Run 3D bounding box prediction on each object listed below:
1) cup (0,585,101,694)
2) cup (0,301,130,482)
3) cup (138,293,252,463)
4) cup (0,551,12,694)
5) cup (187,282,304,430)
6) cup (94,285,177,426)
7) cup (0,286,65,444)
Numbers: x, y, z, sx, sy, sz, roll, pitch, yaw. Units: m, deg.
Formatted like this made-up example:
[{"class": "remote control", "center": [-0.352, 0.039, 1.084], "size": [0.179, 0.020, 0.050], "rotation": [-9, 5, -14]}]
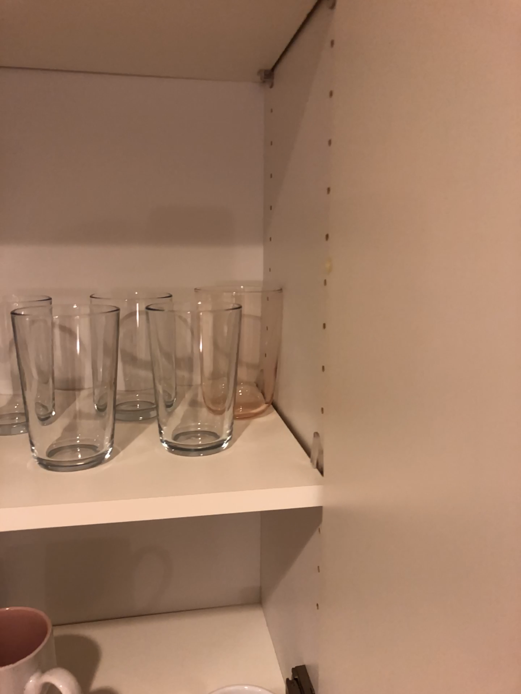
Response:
[{"class": "cup", "center": [-0.212, 0.277, 0.446], "size": [0.140, 0.110, 0.090], "rotation": [5, 10, 25]}, {"class": "cup", "center": [-0.142, 0.026, 0.425], "size": [0.080, 0.110, 0.090], "rotation": [-2, 10, -16]}, {"class": "cup", "center": [-0.056, 0.019, 0.467], "size": [0.080, 0.120, 0.080], "rotation": [0, 9, 0]}, {"class": "cup", "center": [-0.332, 0.282, 0.553], "size": [0.090, 0.090, 0.140], "rotation": [6, 11, 30]}, {"class": "cup", "center": [-0.018, 0.002, 0.544], "size": [0.090, 0.120, 0.100], "rotation": [-2, 10, -14]}, {"class": "cup", "center": [-0.122, 0.004, 0.553], "size": [0.070, 0.120, 0.080], "rotation": [-2, 10, -16]}, {"class": "cup", "center": [-0.220, 0.010, 0.505], "size": [0.080, 0.120, 0.090], "rotation": [-2, 10, -16]}]
